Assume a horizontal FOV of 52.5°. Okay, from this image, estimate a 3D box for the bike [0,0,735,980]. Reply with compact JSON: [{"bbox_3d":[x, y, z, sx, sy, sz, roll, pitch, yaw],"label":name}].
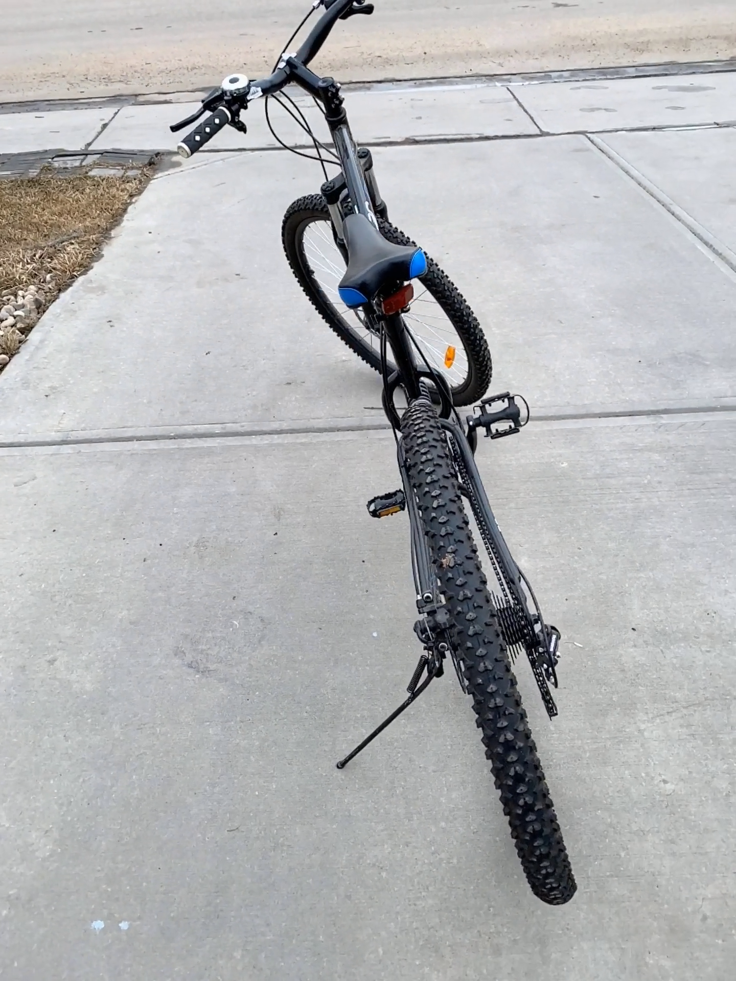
[{"bbox_3d":[-0.080,-0.227,1.410,0.627,1.173,1.799,-11,42,-9],"label":"bike"}]
